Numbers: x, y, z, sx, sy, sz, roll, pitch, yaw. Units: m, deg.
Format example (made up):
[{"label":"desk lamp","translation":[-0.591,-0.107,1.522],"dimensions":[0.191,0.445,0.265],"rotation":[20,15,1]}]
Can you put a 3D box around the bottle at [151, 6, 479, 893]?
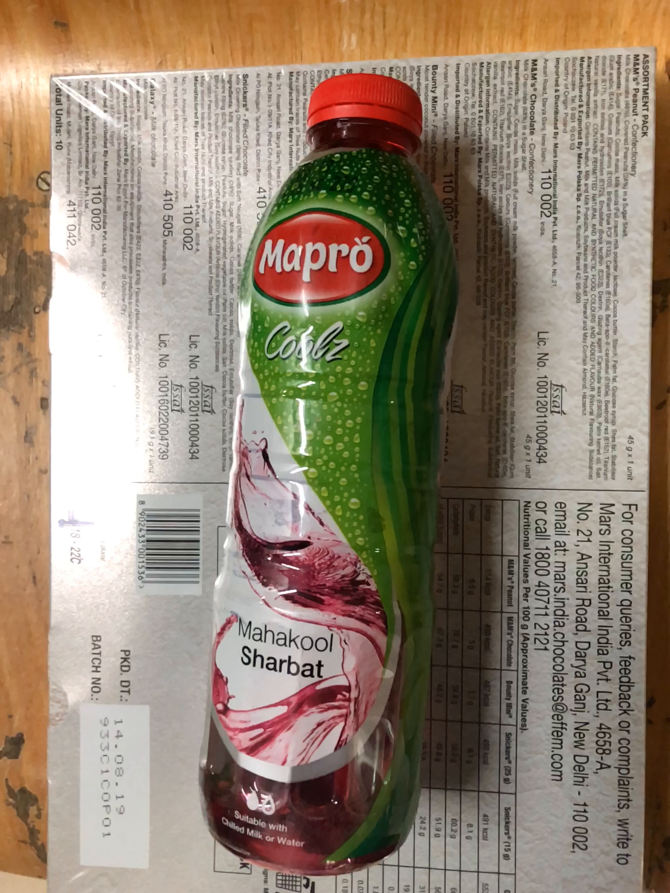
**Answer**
[{"label":"bottle","translation":[-0.005,0.007,0.265],"dimensions":[0.080,0.060,0.280],"rotation":[5,93,20]}]
